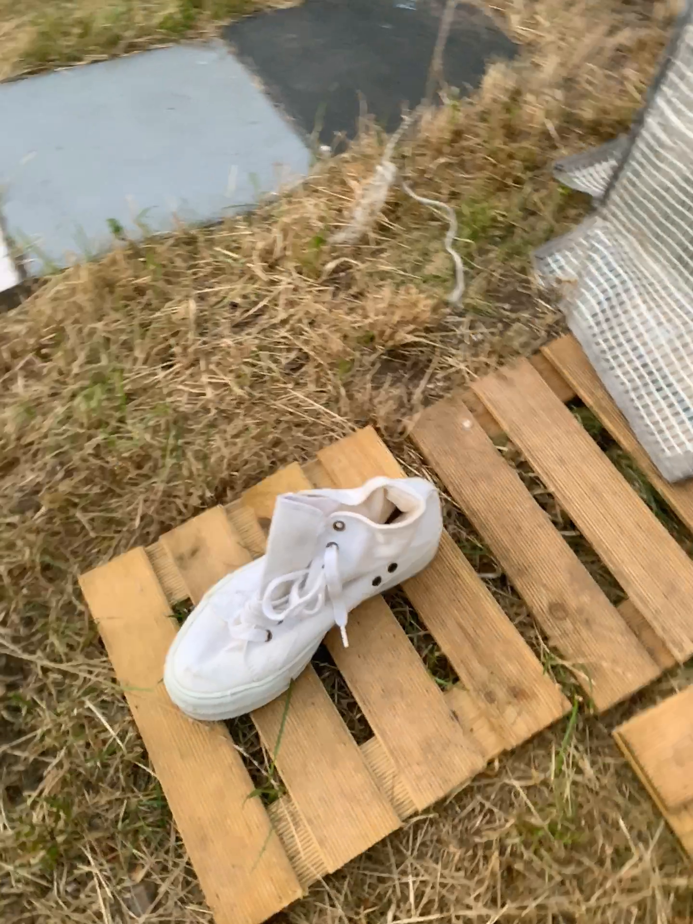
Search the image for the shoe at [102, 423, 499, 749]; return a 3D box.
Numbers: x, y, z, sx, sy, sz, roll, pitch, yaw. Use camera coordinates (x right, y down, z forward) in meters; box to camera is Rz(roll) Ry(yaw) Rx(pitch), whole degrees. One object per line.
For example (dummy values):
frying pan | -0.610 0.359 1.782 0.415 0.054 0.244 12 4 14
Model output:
shoe | -0.029 0.091 0.533 0.261 0.109 0.100 -27 64 -17
